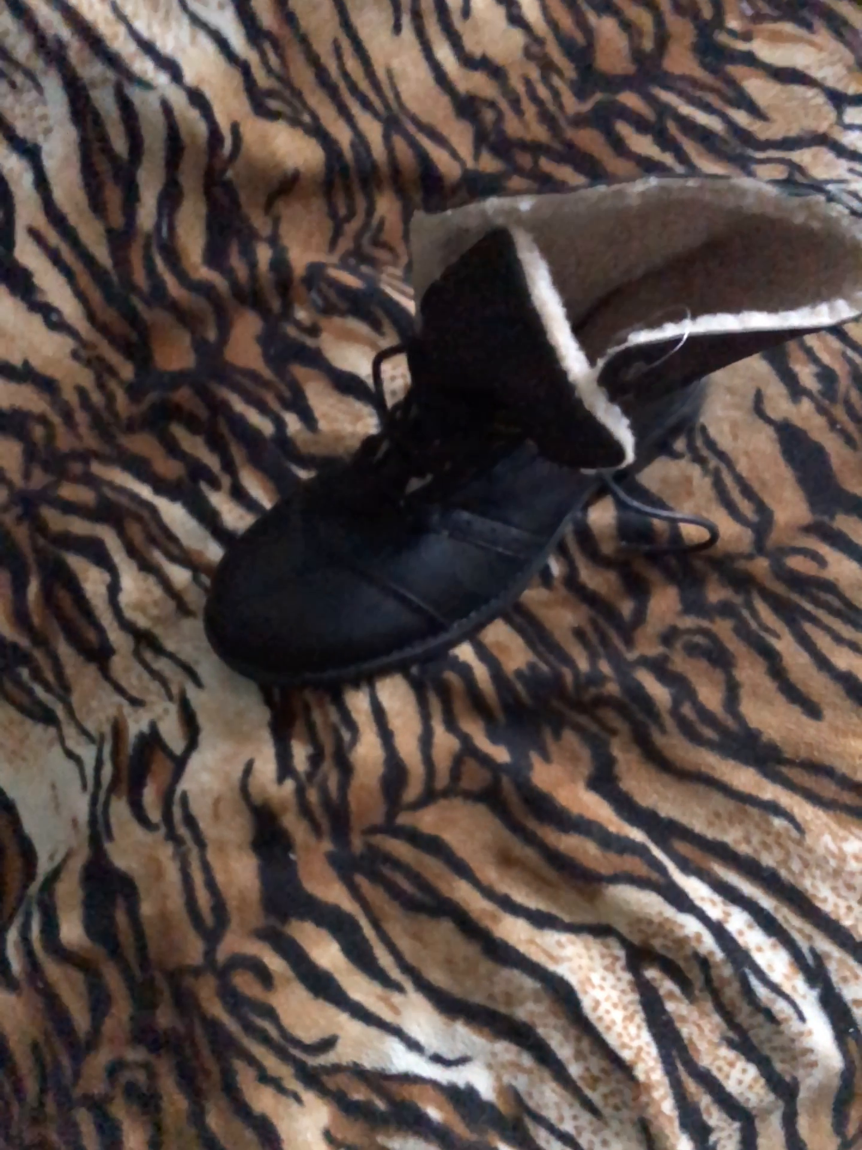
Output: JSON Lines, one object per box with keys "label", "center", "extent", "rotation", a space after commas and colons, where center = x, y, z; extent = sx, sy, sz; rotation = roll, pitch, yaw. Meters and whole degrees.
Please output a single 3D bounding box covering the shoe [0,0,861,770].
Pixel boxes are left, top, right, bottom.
{"label": "shoe", "center": [0.006, -0.078, 0.451], "extent": [0.330, 0.200, 0.140], "rotation": [-34, 67, -4]}
